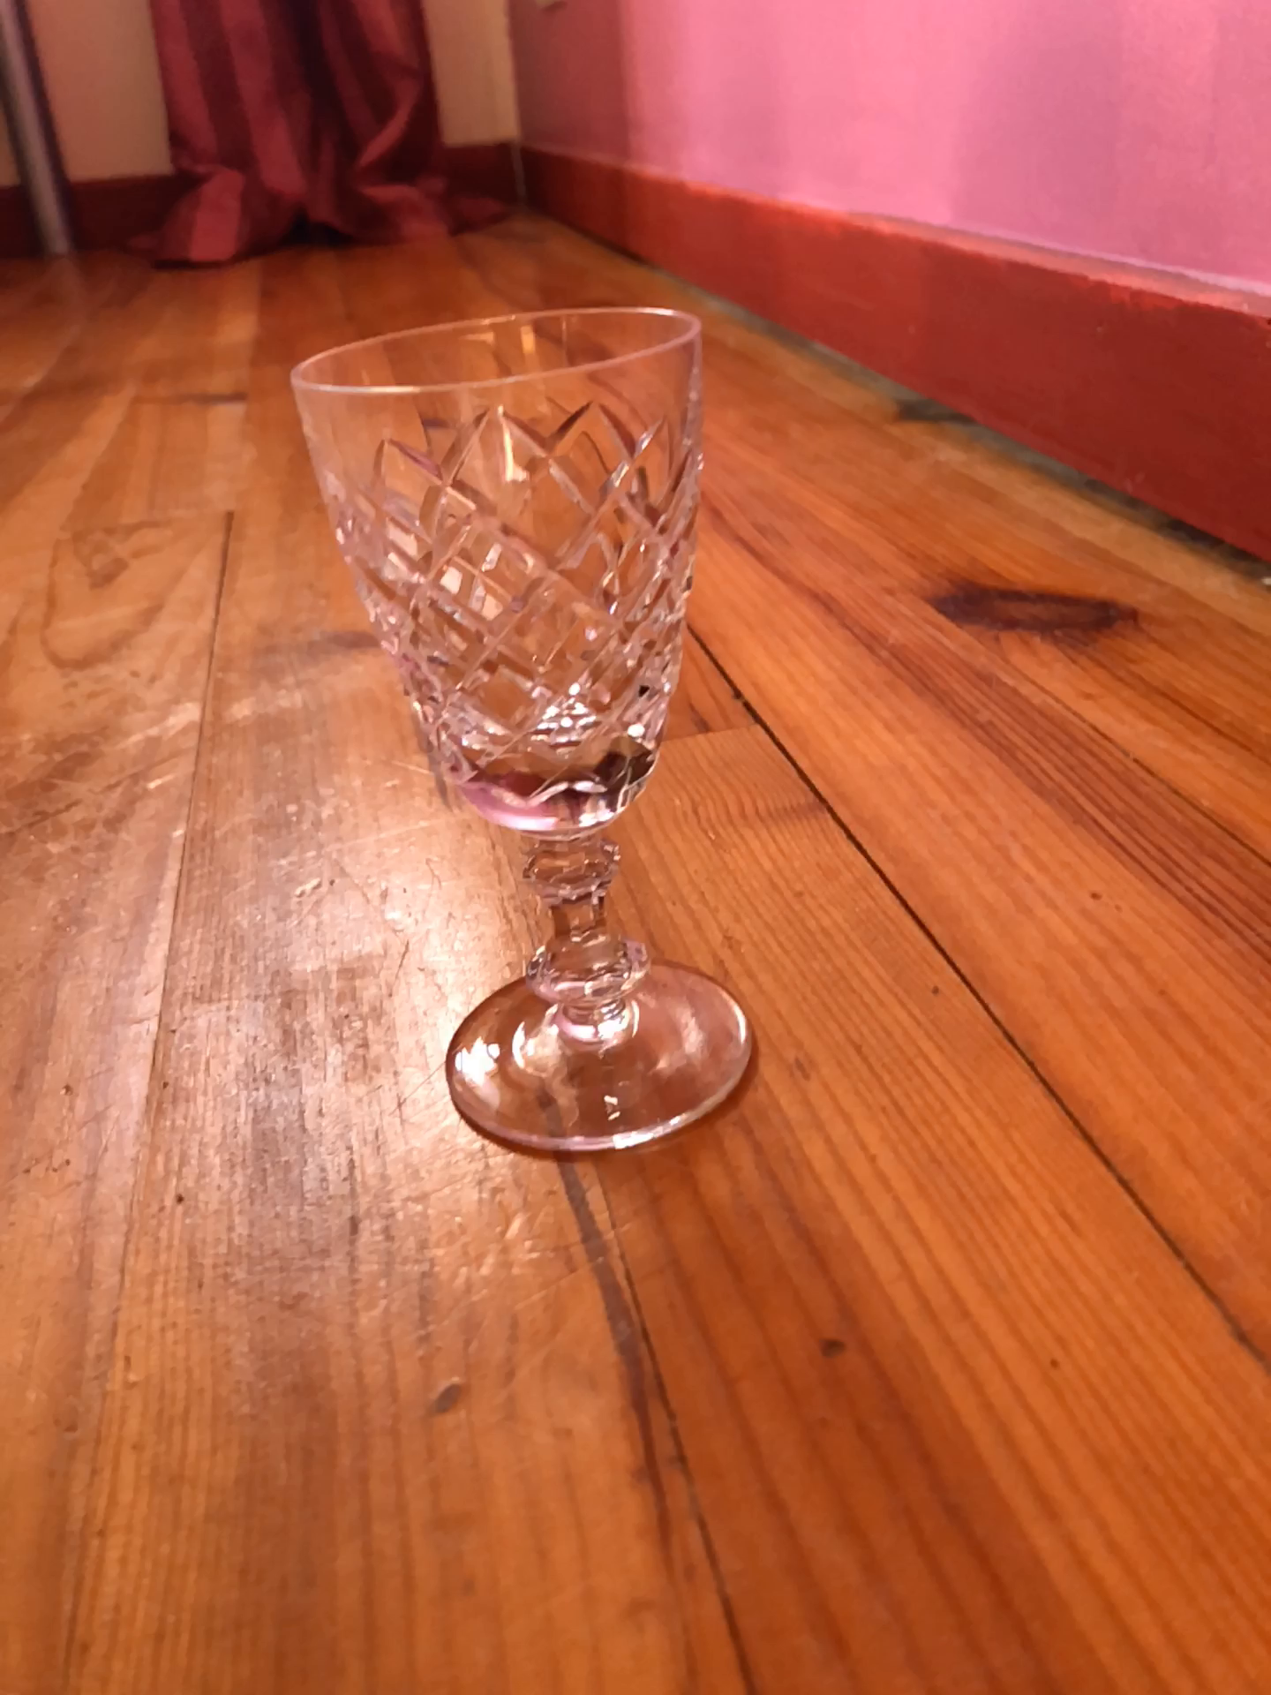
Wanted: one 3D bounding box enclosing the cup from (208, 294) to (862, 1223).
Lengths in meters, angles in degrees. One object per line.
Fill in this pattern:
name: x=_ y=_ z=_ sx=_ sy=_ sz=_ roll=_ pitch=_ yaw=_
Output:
cup: x=-0.008 y=-0.016 z=0.208 sx=0.056 sy=0.113 sz=0.060 roll=-5 pitch=27 yaw=3
